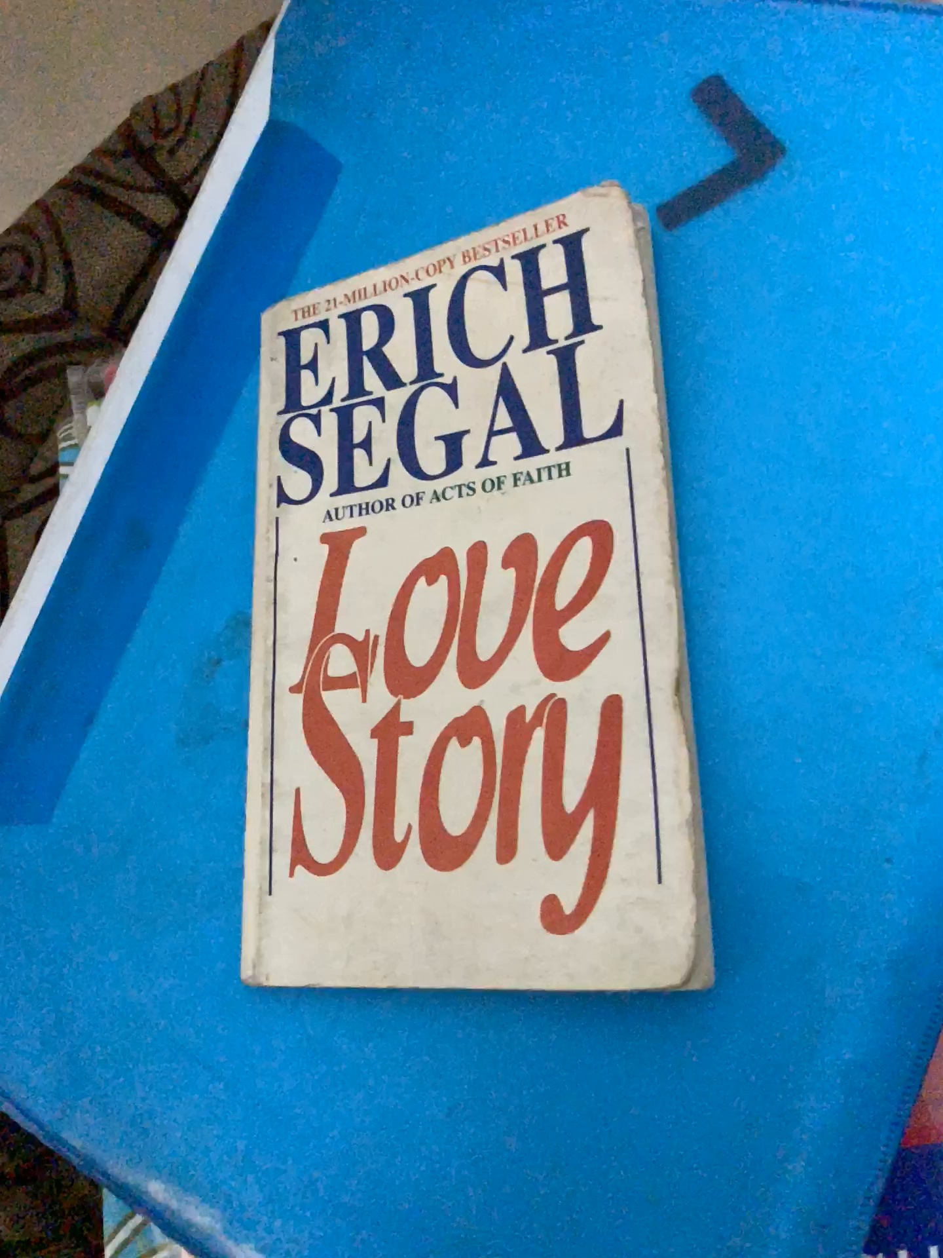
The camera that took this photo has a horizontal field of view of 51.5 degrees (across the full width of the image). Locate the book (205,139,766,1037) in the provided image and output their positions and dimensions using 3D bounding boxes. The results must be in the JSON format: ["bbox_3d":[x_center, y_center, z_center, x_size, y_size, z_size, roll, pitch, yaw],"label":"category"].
[{"bbox_3d":[-0.003,-0.010,0.215,0.110,0.020,0.180,-7,74,20],"label":"book"}]
